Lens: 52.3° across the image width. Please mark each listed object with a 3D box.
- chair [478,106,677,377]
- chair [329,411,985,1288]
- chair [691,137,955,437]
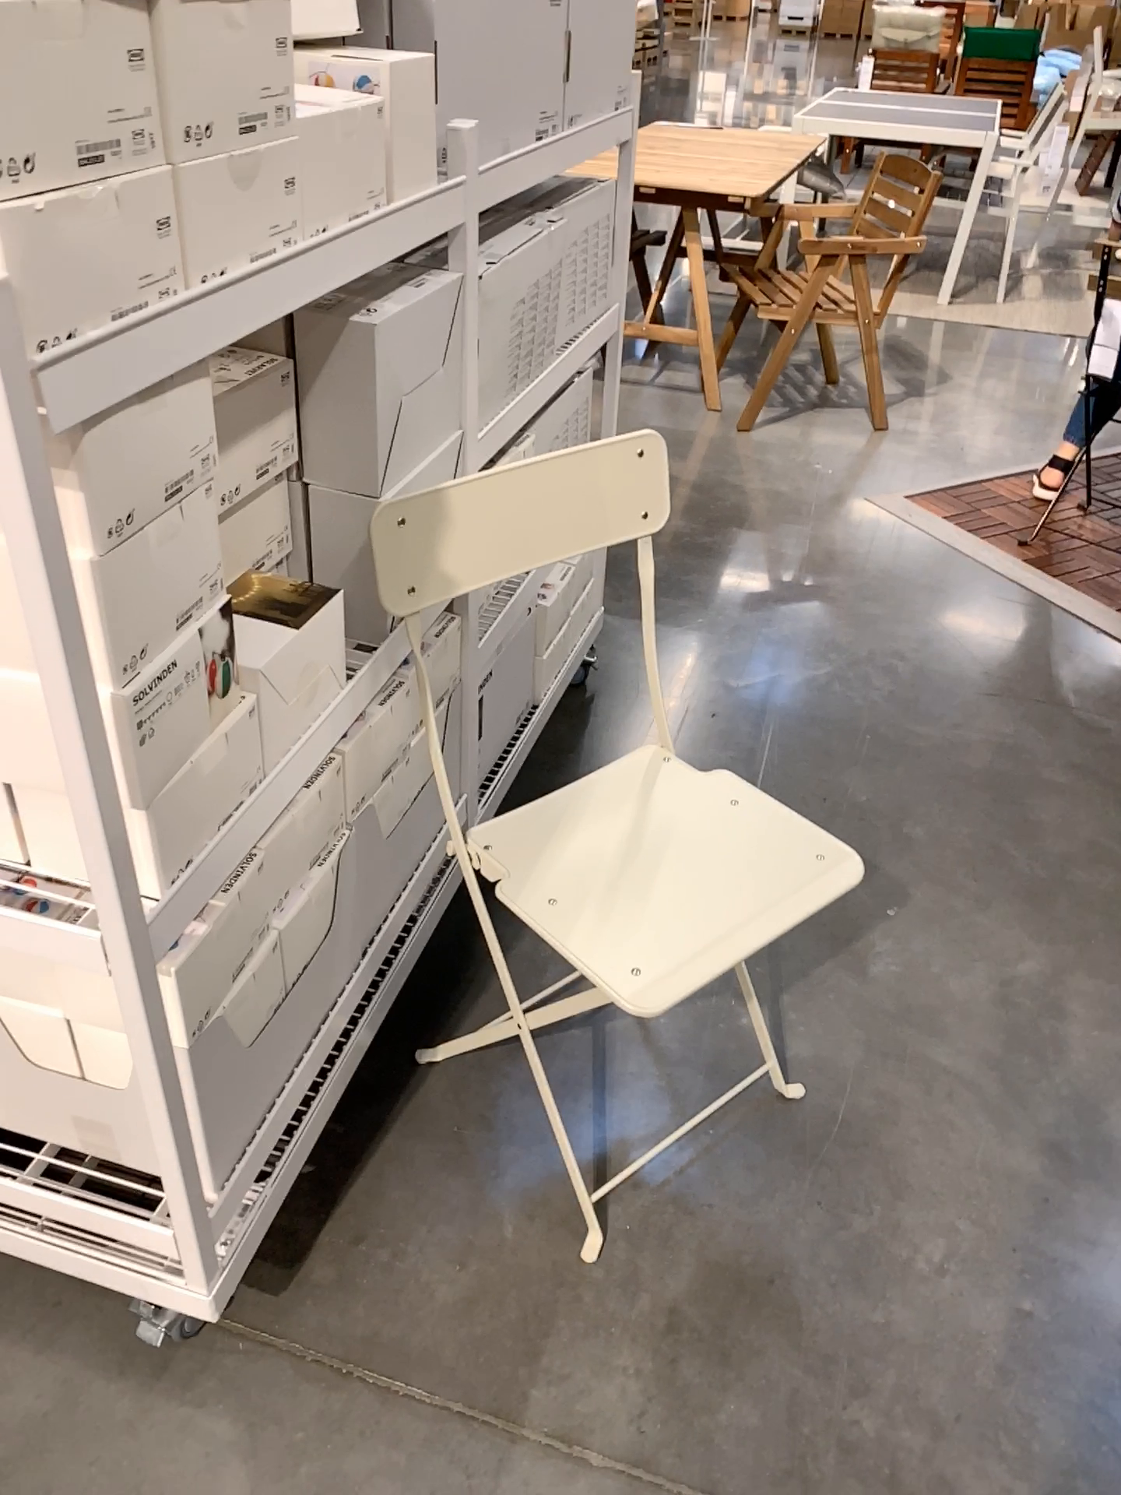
[{"bbox_3d":[0.056,-1.829,4.109,0.547,0.763,0.540,12,35,13],"label":"chair"},{"bbox_3d":[0.070,0.101,1.317,0.438,0.783,0.458,-24,43,-34],"label":"chair"},{"bbox_3d":[0.785,-1.461,3.623,0.547,0.763,0.590,-1,35,-7],"label":"chair"}]
